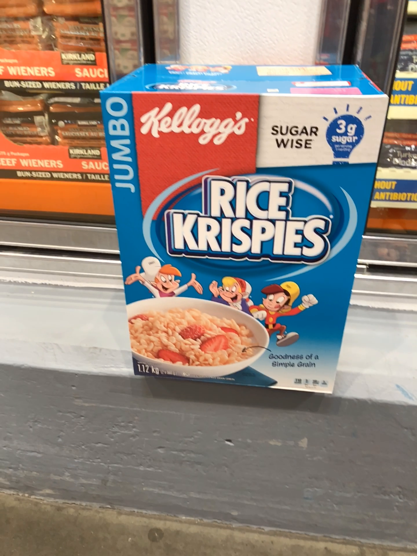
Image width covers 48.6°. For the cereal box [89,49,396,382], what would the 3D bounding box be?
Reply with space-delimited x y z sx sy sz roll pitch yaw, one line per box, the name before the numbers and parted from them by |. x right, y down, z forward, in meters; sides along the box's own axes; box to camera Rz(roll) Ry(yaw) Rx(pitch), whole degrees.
cereal box | 0.034 -0.067 0.516 0.240 0.318 0.161 4 34 7
